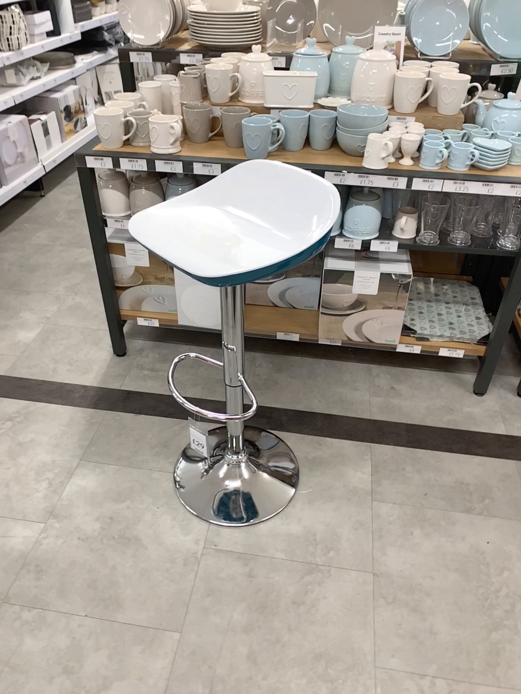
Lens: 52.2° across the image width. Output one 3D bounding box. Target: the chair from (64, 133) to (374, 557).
[{"bbox_3d":[-0.088,-0.003,1.300,0.422,0.825,0.457,-29,46,-32],"label":"chair"}]
